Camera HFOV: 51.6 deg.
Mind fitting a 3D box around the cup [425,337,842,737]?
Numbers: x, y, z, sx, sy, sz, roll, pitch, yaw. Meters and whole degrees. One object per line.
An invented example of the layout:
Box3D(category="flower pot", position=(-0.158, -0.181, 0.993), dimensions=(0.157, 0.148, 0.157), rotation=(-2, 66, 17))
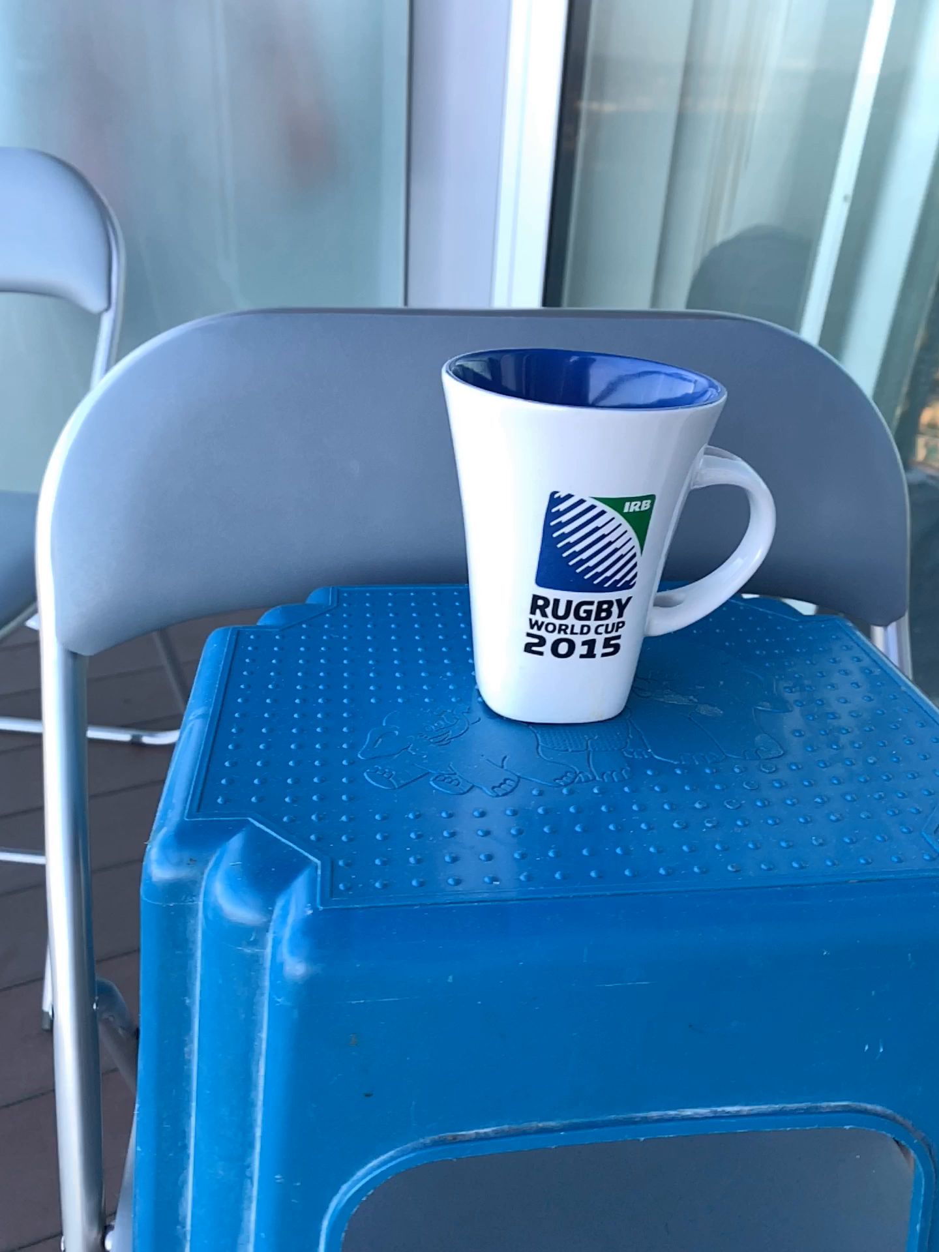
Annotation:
Box3D(category="cup", position=(0.044, -0.032, 0.326), dimensions=(0.107, 0.105, 0.083), rotation=(-1, 29, -8))
